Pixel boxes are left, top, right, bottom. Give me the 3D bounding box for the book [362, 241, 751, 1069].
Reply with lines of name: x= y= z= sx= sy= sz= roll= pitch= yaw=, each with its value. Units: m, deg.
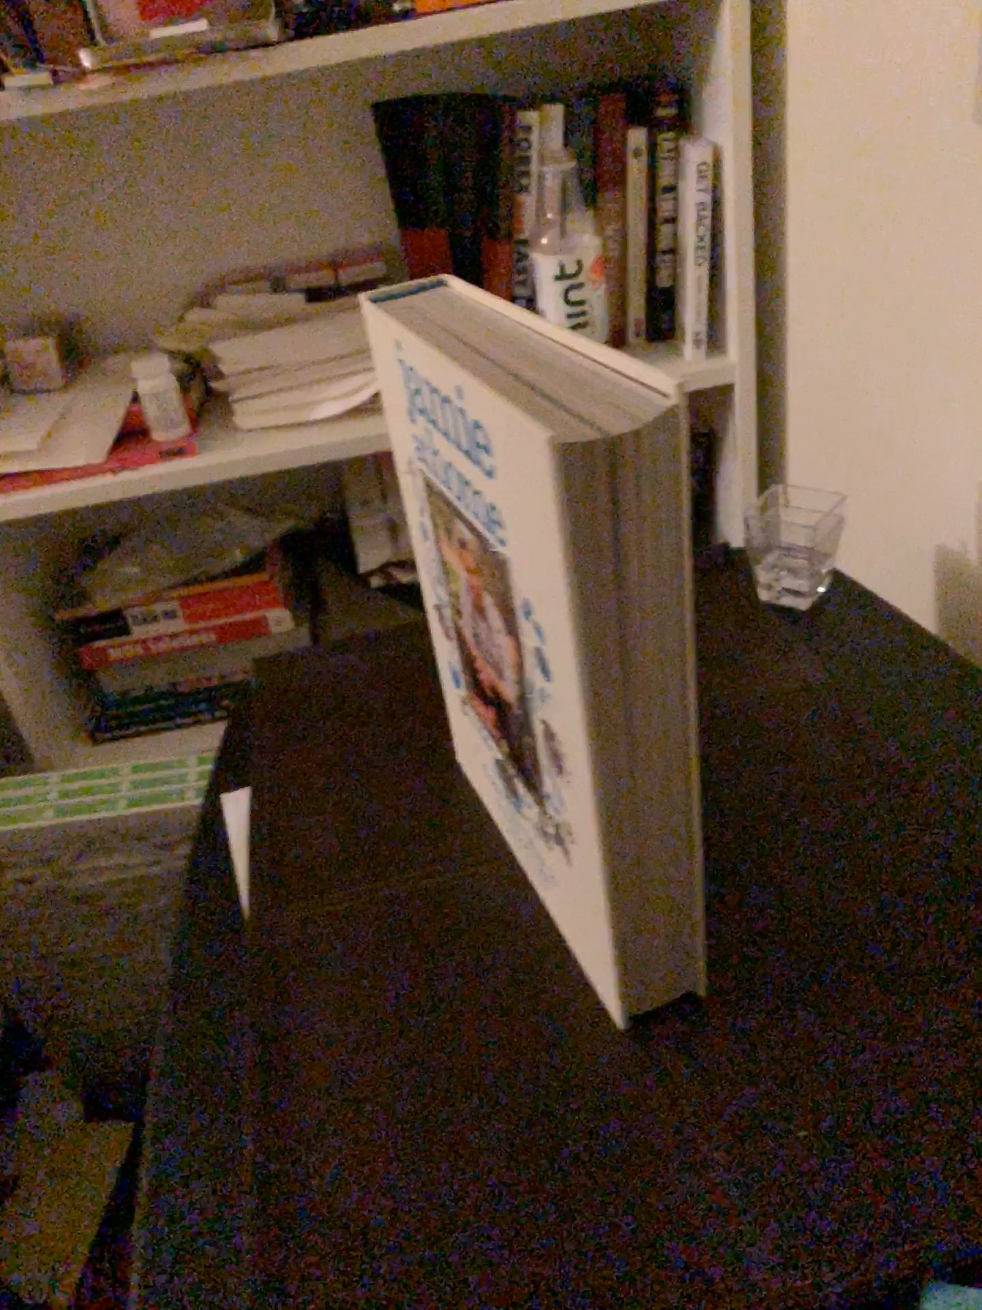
book: x=0.025 y=-0.009 z=0.414 sx=0.050 sy=0.268 sz=0.211 roll=-18 pitch=33 yaw=-12
